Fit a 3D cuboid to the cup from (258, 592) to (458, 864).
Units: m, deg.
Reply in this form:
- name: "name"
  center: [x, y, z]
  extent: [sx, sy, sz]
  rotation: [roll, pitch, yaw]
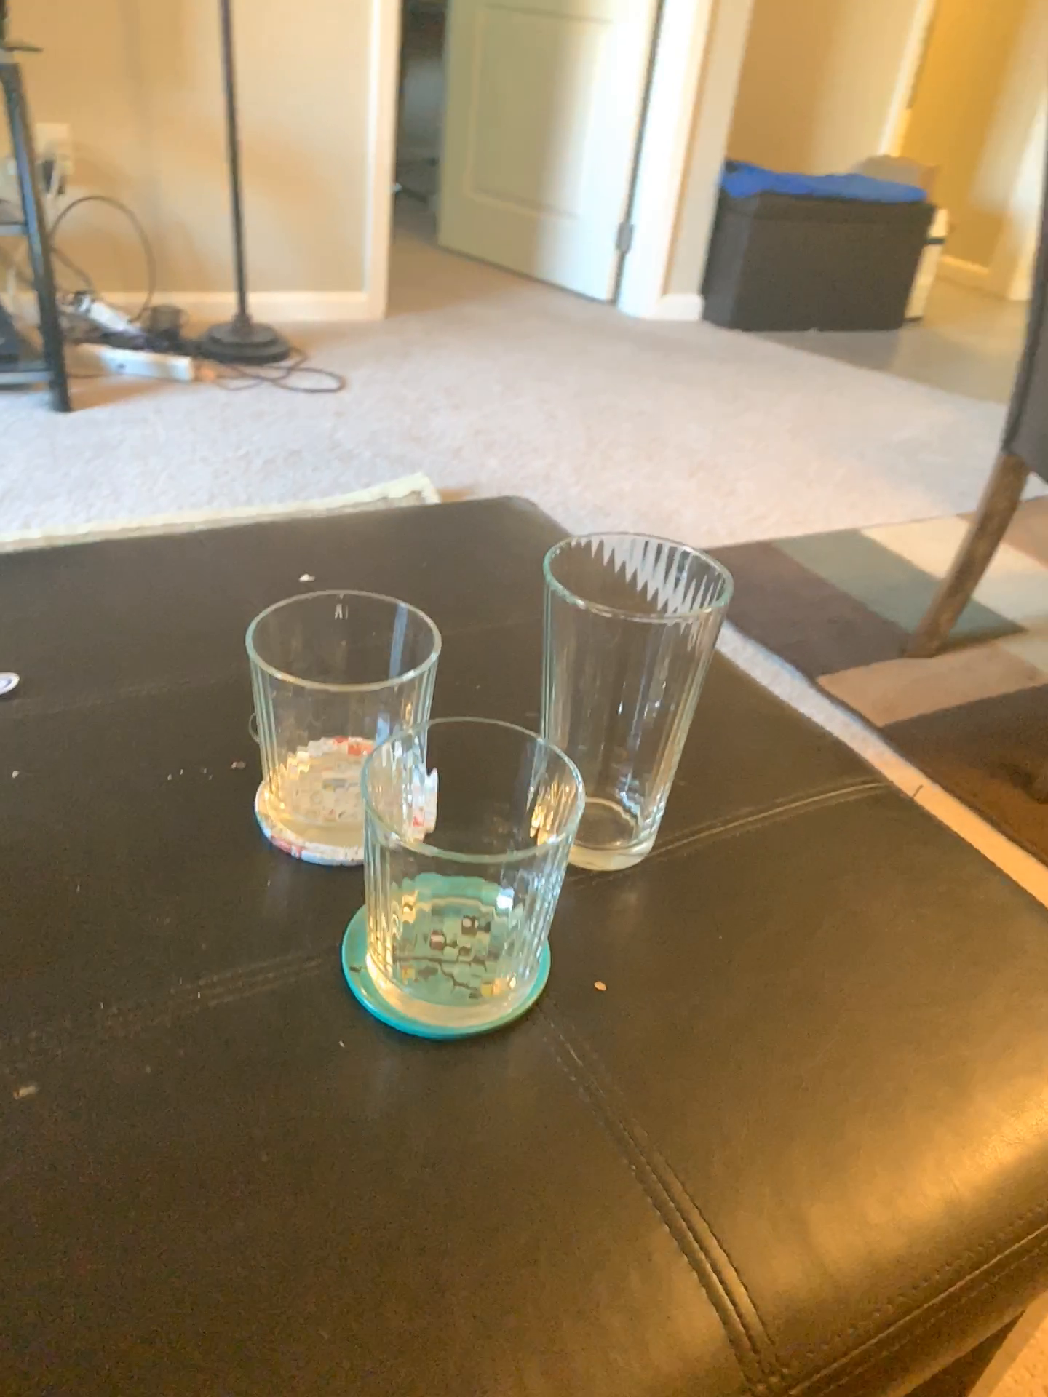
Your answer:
- name: "cup"
  center: [-0.084, 0.016, 0.554]
  extent: [0.090, 0.109, 0.080]
  rotation: [3, 33, -7]

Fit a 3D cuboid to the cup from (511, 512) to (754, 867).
- name: "cup"
  center: [0.044, -0.003, 0.517]
  extent: [0.080, 0.139, 0.091]
  rotation: [3, 33, -7]

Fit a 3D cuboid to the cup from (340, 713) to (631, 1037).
- name: "cup"
  center: [-0.020, 0.071, 0.438]
  extent: [0.100, 0.089, 0.091]
  rotation: [3, 33, -7]
